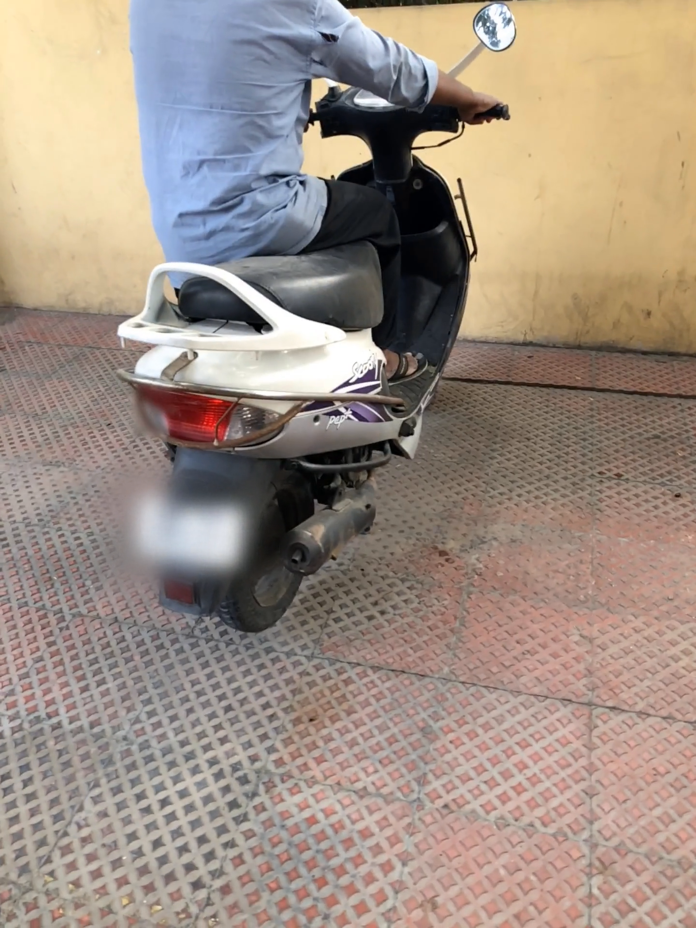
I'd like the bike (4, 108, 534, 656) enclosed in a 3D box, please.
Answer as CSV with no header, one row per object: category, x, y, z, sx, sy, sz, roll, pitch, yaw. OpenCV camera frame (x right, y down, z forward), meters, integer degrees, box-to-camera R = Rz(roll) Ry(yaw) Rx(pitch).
bike,0.026,-0.411,1.994,0.598,0.816,1.620,9,32,19
